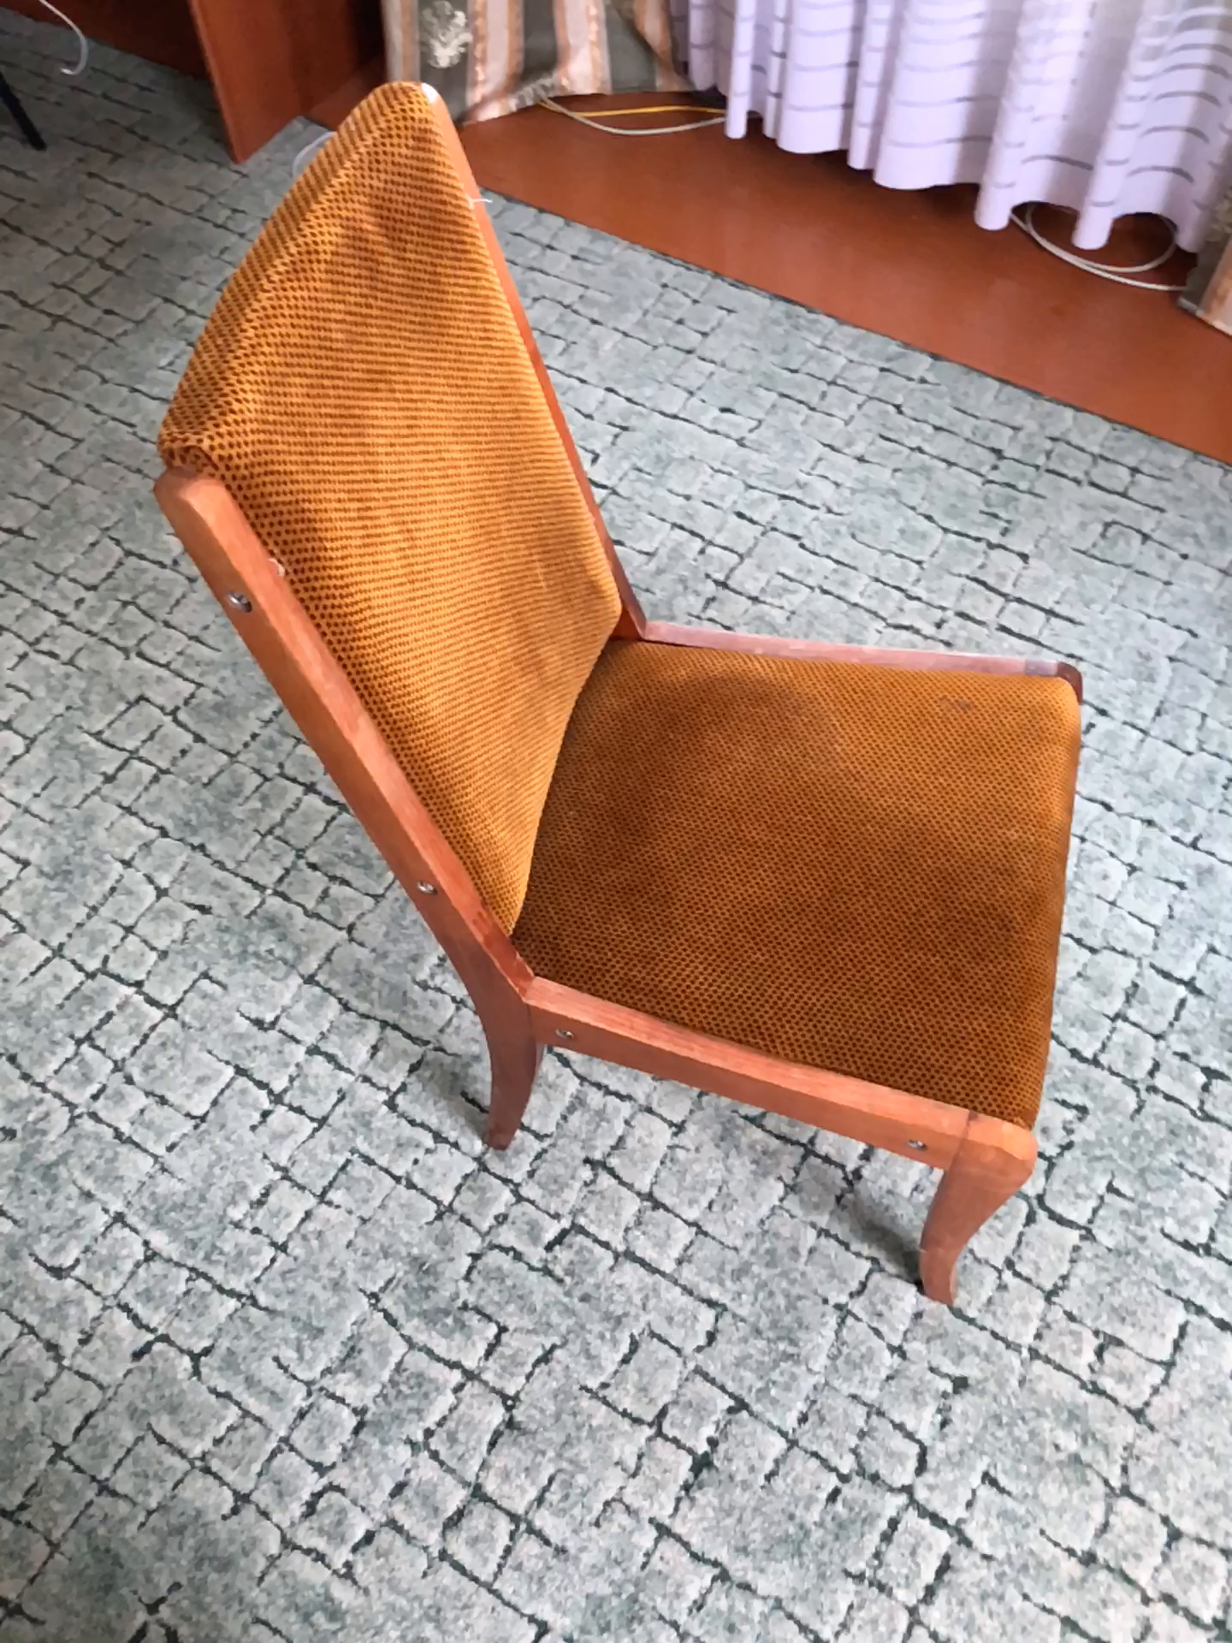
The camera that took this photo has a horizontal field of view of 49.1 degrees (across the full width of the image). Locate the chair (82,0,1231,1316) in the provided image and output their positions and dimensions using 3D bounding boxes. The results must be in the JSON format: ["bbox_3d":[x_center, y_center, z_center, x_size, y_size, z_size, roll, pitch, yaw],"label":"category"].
[{"bbox_3d":[0.108,-0.030,1.024,0.528,0.925,0.473,11,59,9],"label":"chair"}]
